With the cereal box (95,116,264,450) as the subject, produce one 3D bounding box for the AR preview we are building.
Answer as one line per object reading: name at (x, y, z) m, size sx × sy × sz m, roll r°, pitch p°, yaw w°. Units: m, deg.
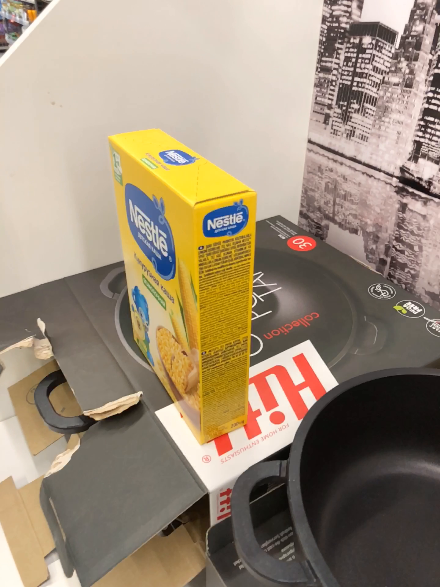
cereal box at (-0.035, -0.012, 0.366) m, size 0.050 × 0.199 × 0.151 m, roll -17°, pitch 37°, yaw -24°
